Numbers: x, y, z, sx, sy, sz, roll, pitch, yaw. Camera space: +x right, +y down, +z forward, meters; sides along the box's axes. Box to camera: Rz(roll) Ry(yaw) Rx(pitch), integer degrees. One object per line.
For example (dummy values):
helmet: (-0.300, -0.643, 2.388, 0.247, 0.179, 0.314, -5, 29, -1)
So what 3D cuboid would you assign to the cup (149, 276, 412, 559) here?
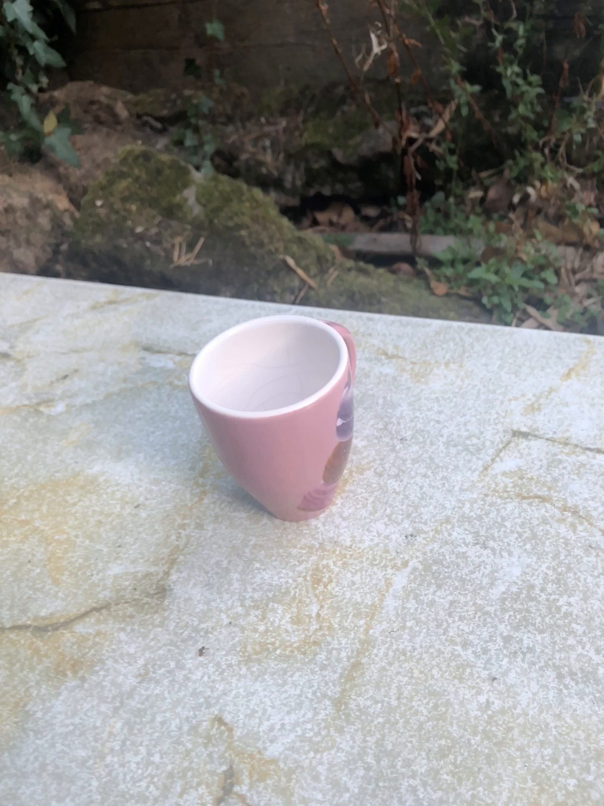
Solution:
cup: (-0.004, 0.003, 0.343, 0.080, 0.080, 0.099, 21, 52, 30)
